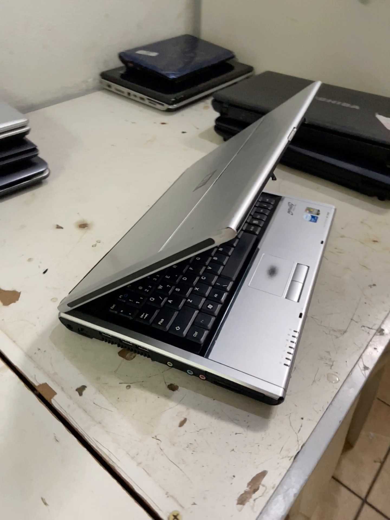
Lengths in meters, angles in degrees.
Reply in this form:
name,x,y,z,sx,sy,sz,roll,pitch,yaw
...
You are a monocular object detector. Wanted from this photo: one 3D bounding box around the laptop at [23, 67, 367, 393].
name,x,y,z,sx,sy,sz,roll,pitch,yaw
laptop,0.035,-0.073,0.450,0.227,0.164,0.332,16,42,17
